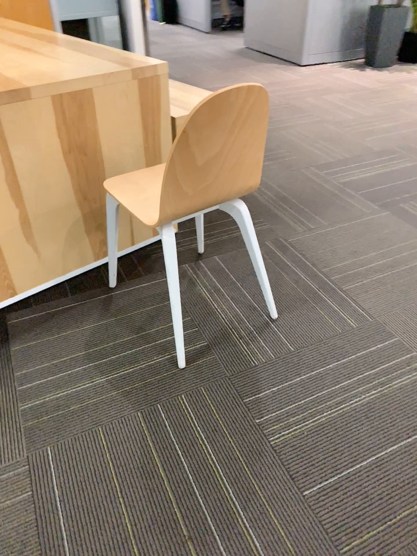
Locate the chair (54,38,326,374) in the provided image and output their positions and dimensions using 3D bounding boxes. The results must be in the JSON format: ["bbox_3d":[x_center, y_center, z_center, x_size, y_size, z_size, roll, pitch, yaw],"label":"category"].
[{"bbox_3d":[-0.071,-0.254,1.373,0.480,0.805,0.583,-24,43,-27],"label":"chair"}]
